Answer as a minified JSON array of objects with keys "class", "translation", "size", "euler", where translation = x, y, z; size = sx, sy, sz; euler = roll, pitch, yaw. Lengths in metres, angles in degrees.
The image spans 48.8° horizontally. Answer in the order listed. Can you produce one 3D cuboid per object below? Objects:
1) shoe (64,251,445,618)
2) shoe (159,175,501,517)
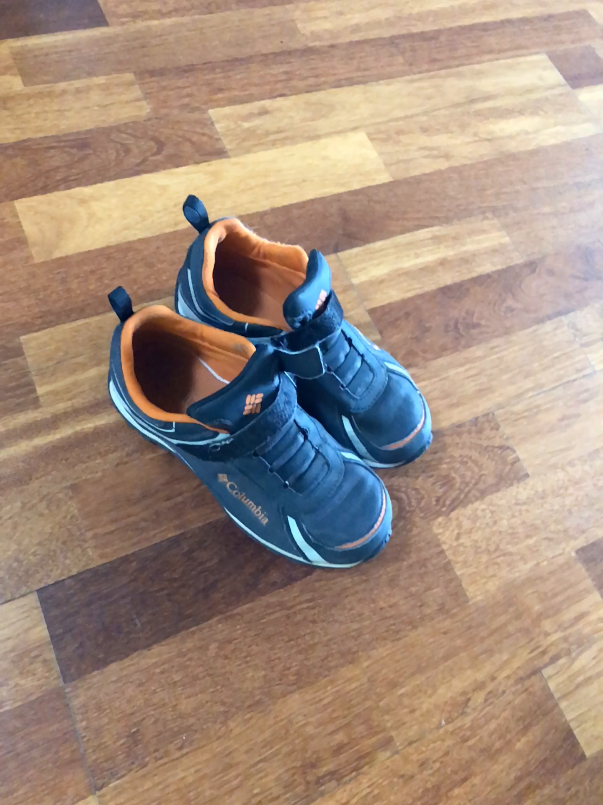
[{"class":"shoe","translation":[-0.039,0.025,0.477],"size":[0.247,0.102,0.097],"euler":[41,64,8]},{"class":"shoe","translation":[0.011,-0.044,0.561],"size":[0.252,0.127,0.112],"euler":[41,64,8]}]
